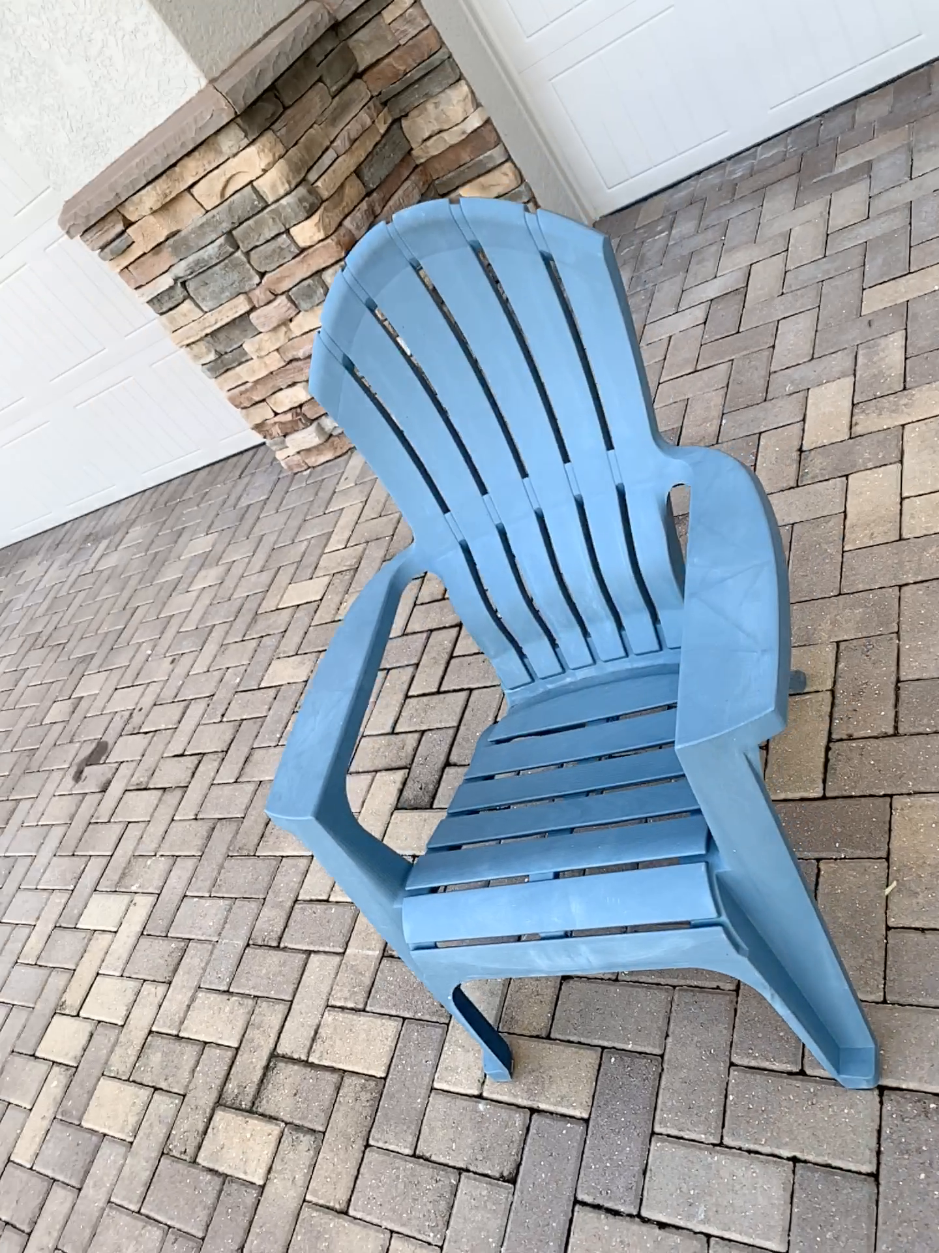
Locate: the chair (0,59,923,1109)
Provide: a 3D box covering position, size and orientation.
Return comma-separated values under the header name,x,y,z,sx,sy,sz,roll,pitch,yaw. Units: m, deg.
name,x,y,z,sx,sy,sz,roll,pitch,yaw
chair,0.069,0.024,1.305,0.682,0.986,0.800,-17,38,33
